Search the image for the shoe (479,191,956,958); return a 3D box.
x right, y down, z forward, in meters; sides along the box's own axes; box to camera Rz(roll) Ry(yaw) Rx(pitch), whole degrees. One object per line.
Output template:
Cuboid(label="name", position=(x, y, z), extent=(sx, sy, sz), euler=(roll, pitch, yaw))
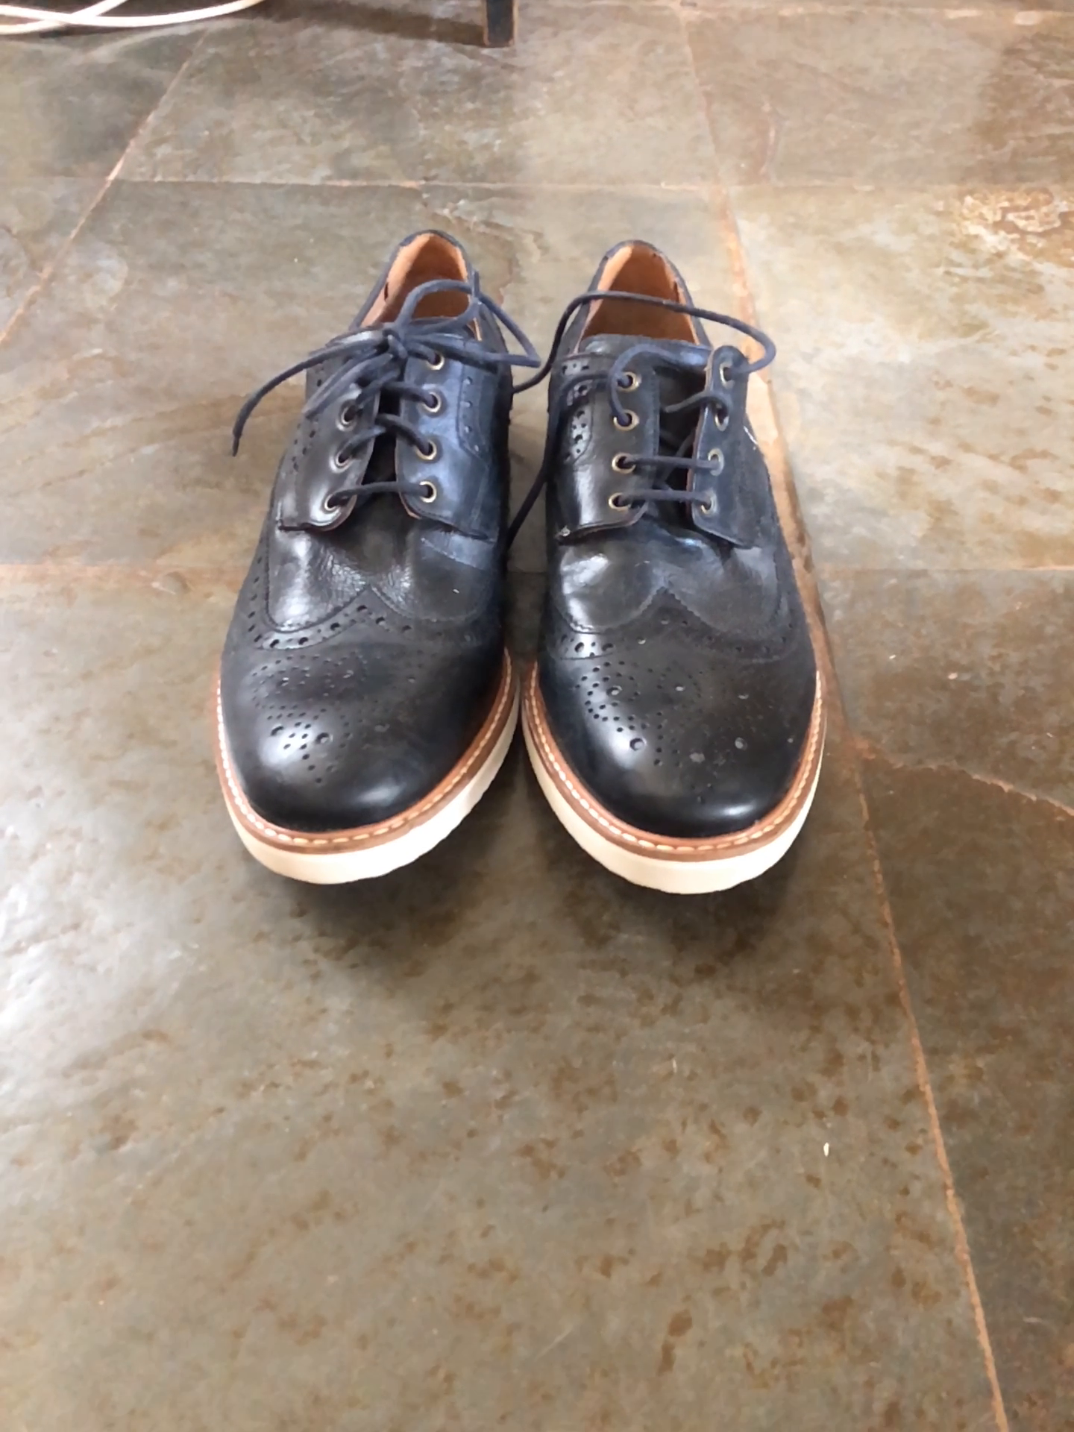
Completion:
Cuboid(label="shoe", position=(0.038, -0.073, 0.420), extent=(0.110, 0.099, 0.302), euler=(-2, 46, -2))

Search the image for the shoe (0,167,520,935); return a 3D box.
Cuboid(label="shoe", position=(-0.065, -0.078, 0.403), extent=(0.110, 0.099, 0.292), euler=(1, 46, 1))
